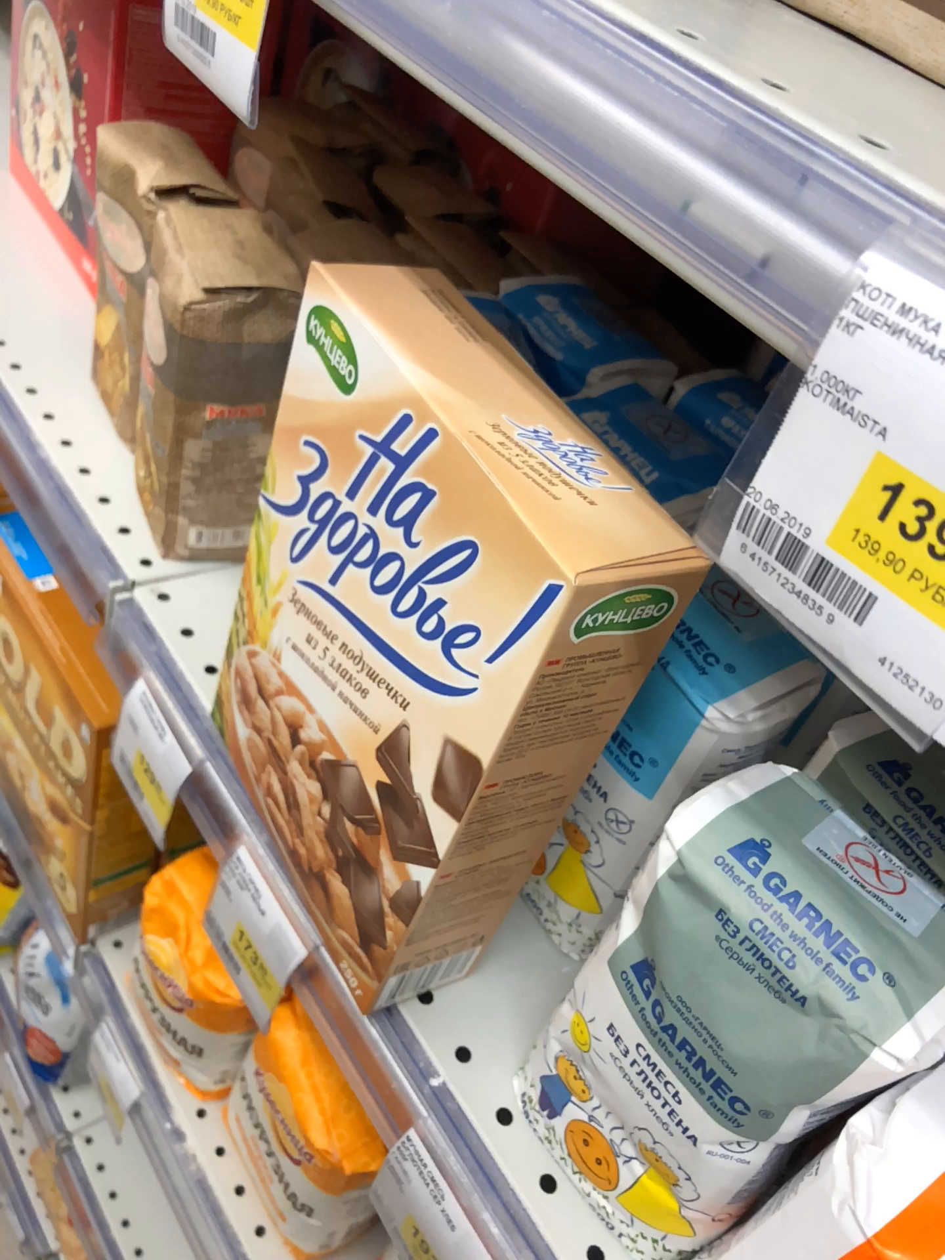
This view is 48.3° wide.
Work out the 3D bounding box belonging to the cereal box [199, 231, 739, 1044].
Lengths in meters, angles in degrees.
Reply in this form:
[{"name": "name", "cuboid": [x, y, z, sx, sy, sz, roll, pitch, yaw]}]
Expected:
[{"name": "cereal box", "cuboid": [-0.027, 0.008, 0.358, 0.050, 0.219, 0.161, -10, 49, -34]}]
